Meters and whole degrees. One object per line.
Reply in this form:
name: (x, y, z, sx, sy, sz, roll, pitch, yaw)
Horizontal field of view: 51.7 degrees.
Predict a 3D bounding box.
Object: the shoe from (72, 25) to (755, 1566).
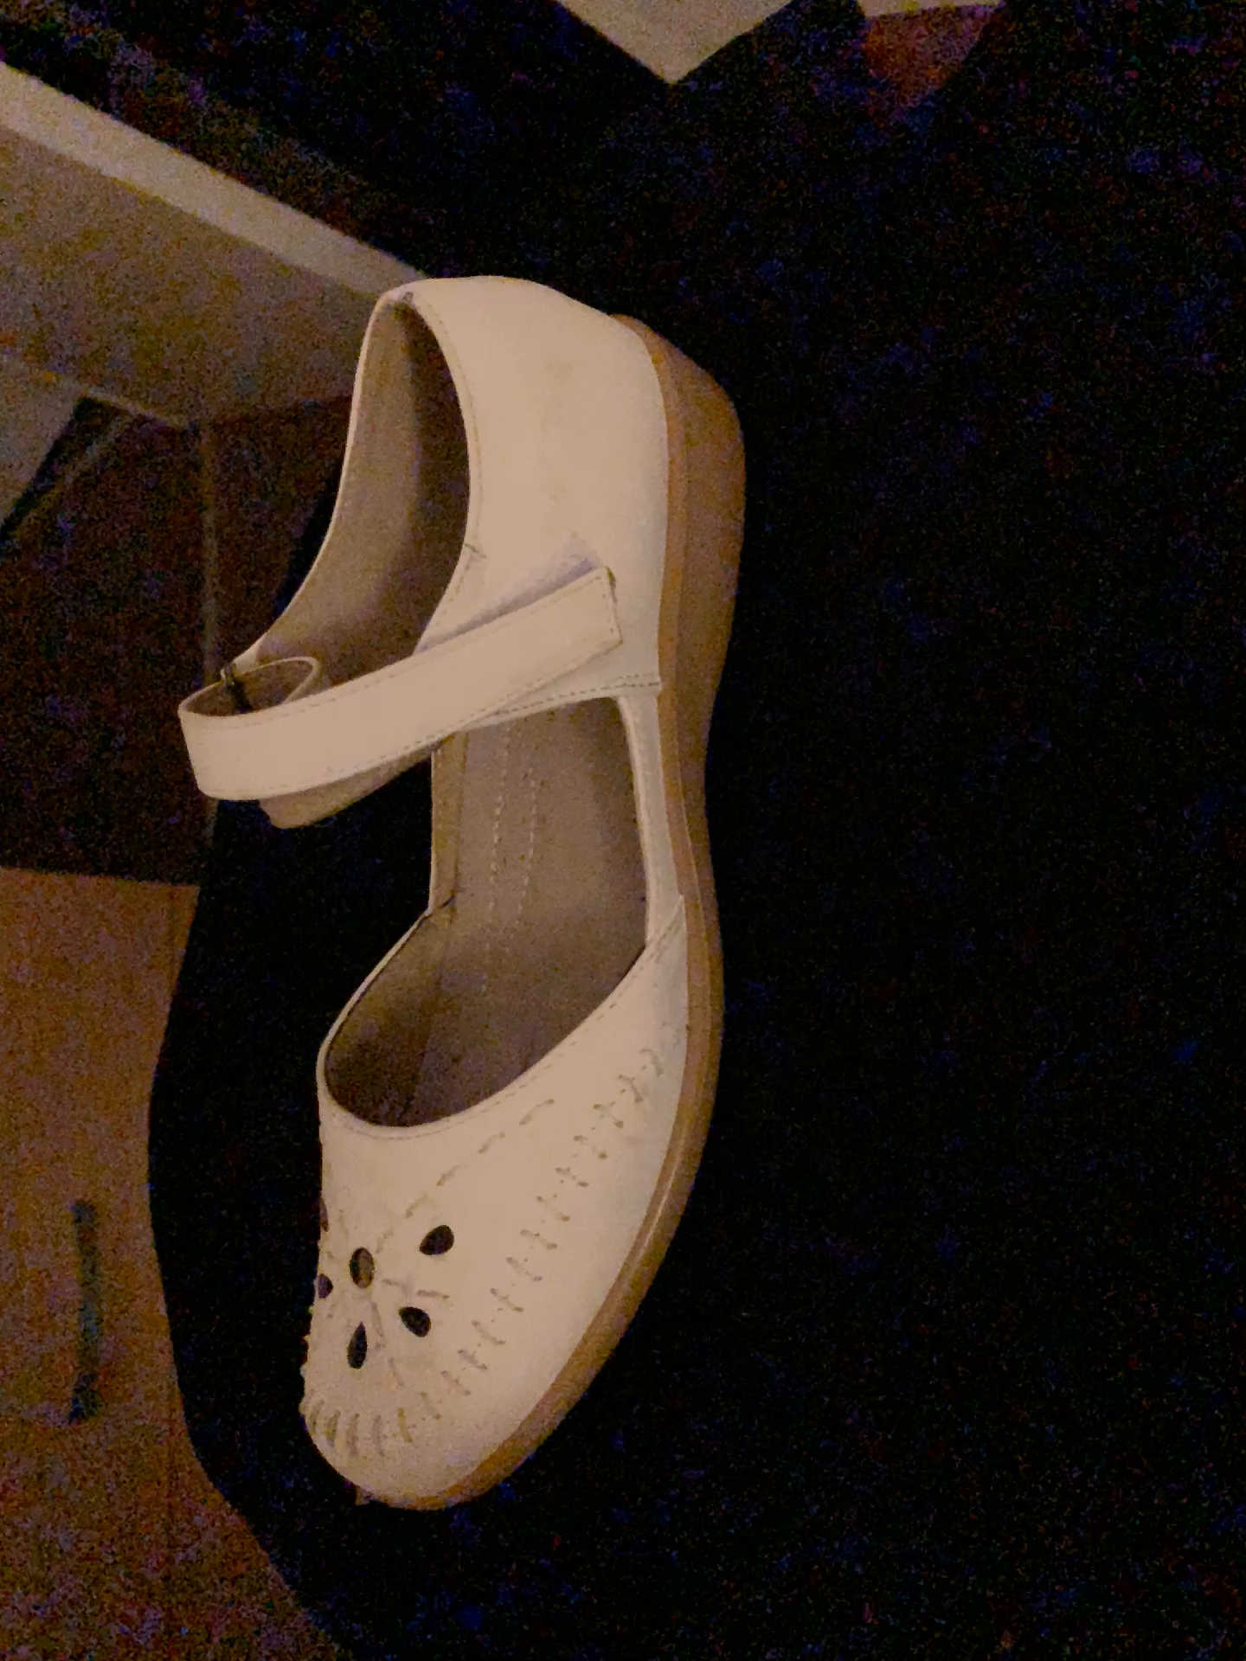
shoe: (-0.041, -0.008, 0.289, 0.098, 0.099, 0.270, -9, 75, 46)
